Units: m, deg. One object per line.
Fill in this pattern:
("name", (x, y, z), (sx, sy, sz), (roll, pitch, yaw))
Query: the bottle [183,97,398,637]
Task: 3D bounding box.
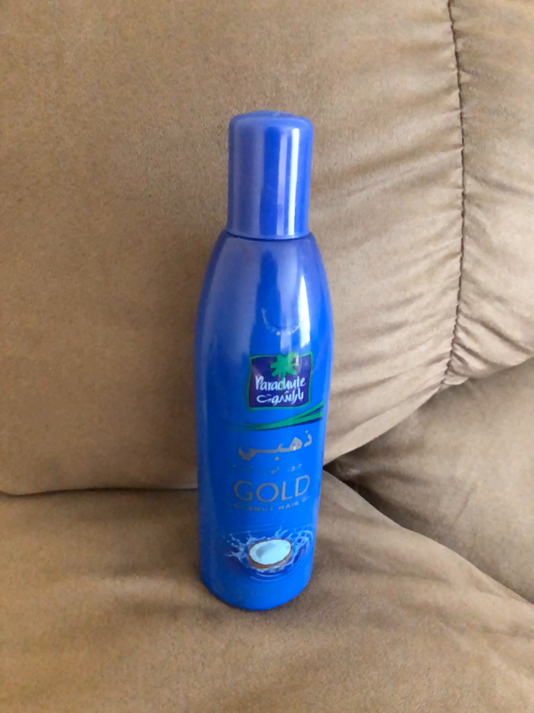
("bottle", (0.001, 0.007, 0.212), (0.050, 0.180, 0.050), (2, 22, -1))
